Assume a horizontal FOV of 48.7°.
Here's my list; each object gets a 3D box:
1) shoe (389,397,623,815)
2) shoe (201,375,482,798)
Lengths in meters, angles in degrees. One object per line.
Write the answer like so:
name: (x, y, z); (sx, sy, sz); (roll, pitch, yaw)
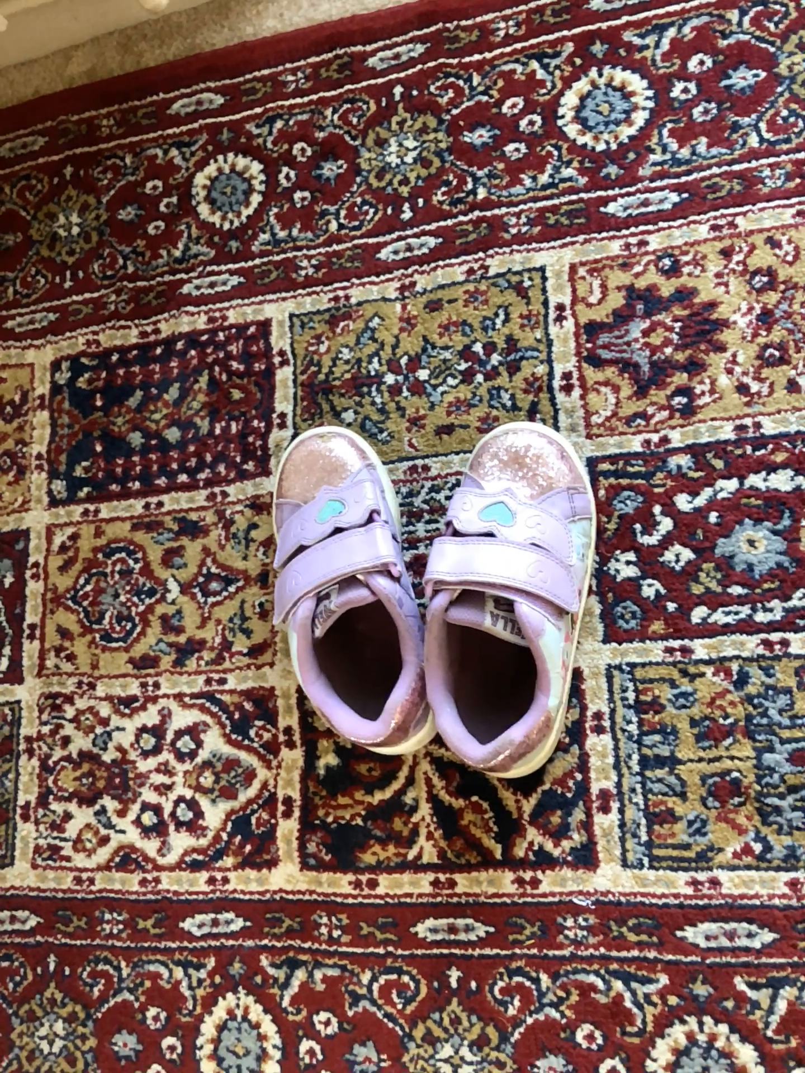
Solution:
shoe: (0.062, 0.035, 0.482); (0.100, 0.090, 0.200); (2, 81, 17)
shoe: (-0.034, 0.030, 0.516); (0.090, 0.090, 0.209); (-19, 76, 13)
